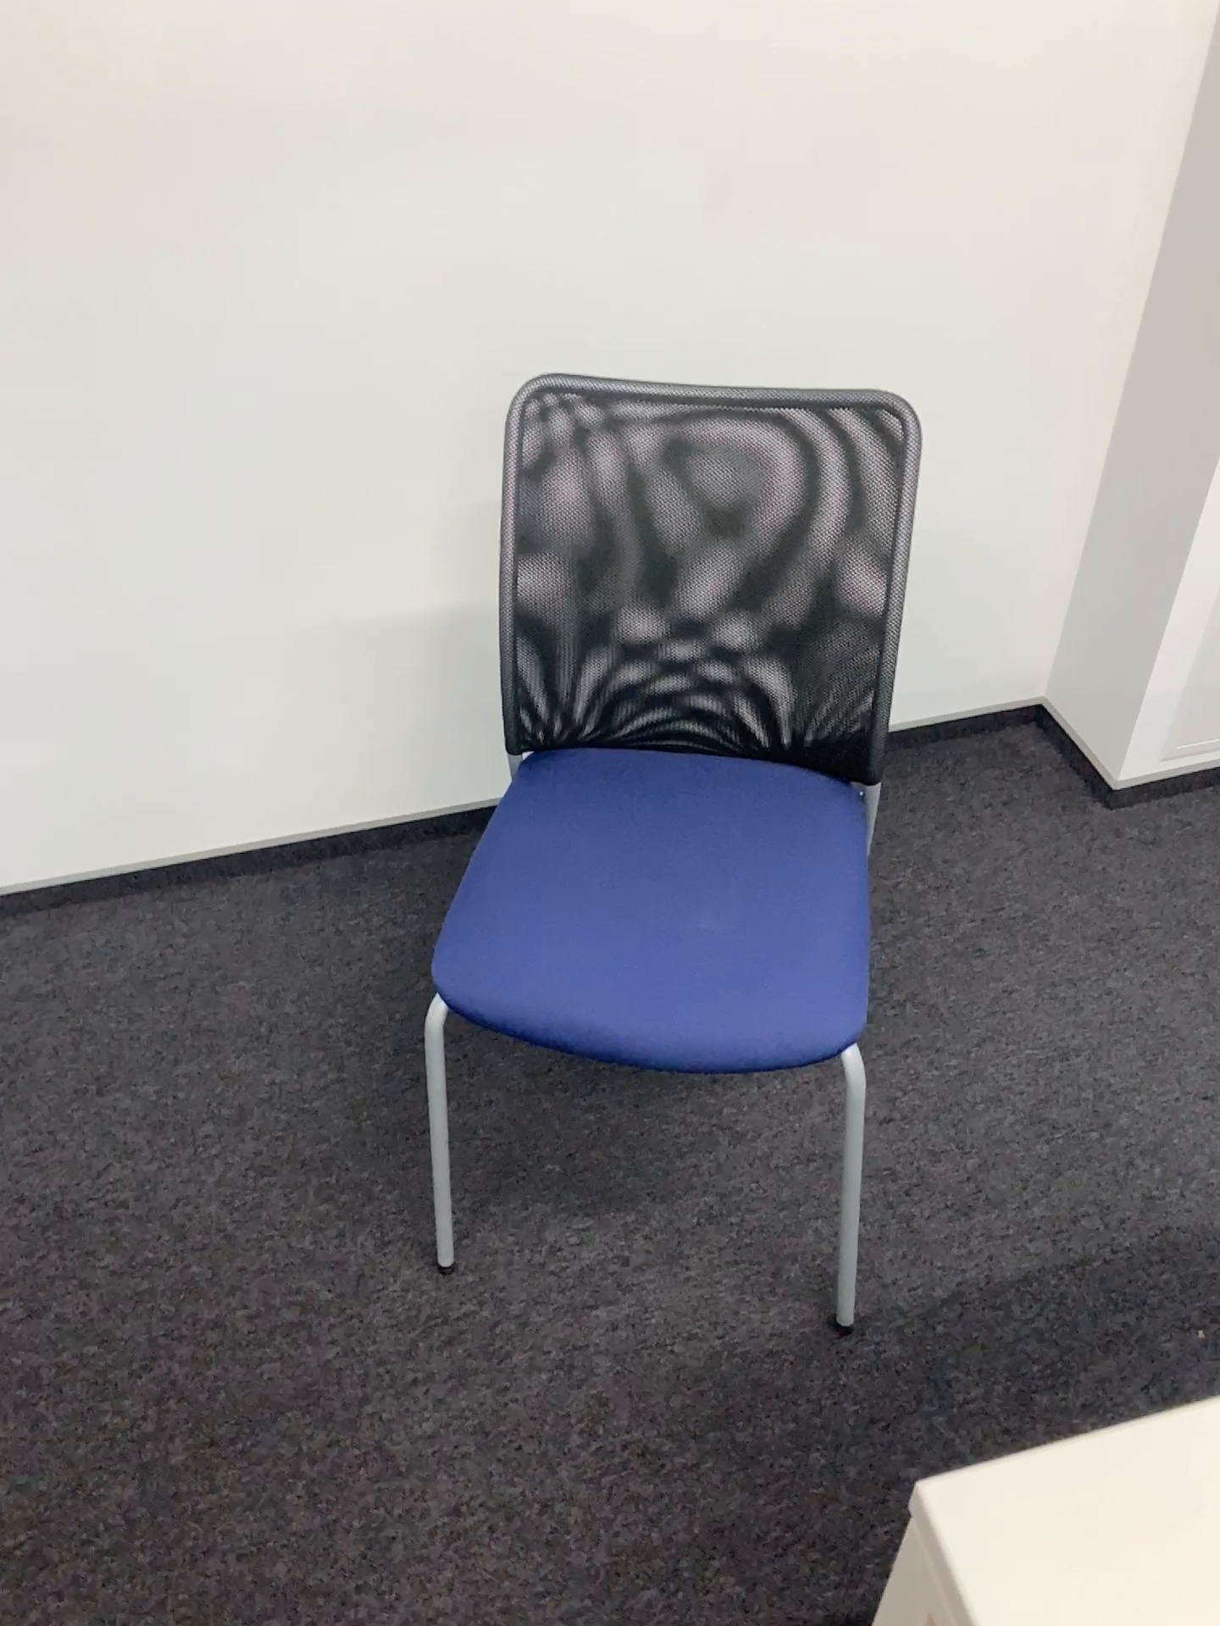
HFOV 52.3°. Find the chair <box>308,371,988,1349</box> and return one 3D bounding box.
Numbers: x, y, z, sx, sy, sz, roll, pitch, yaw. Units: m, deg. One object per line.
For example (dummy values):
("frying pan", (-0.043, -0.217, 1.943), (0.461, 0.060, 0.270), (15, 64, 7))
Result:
("chair", (0.079, 0.061, 1.385), (0.490, 0.865, 0.593), (6, 41, 9))
